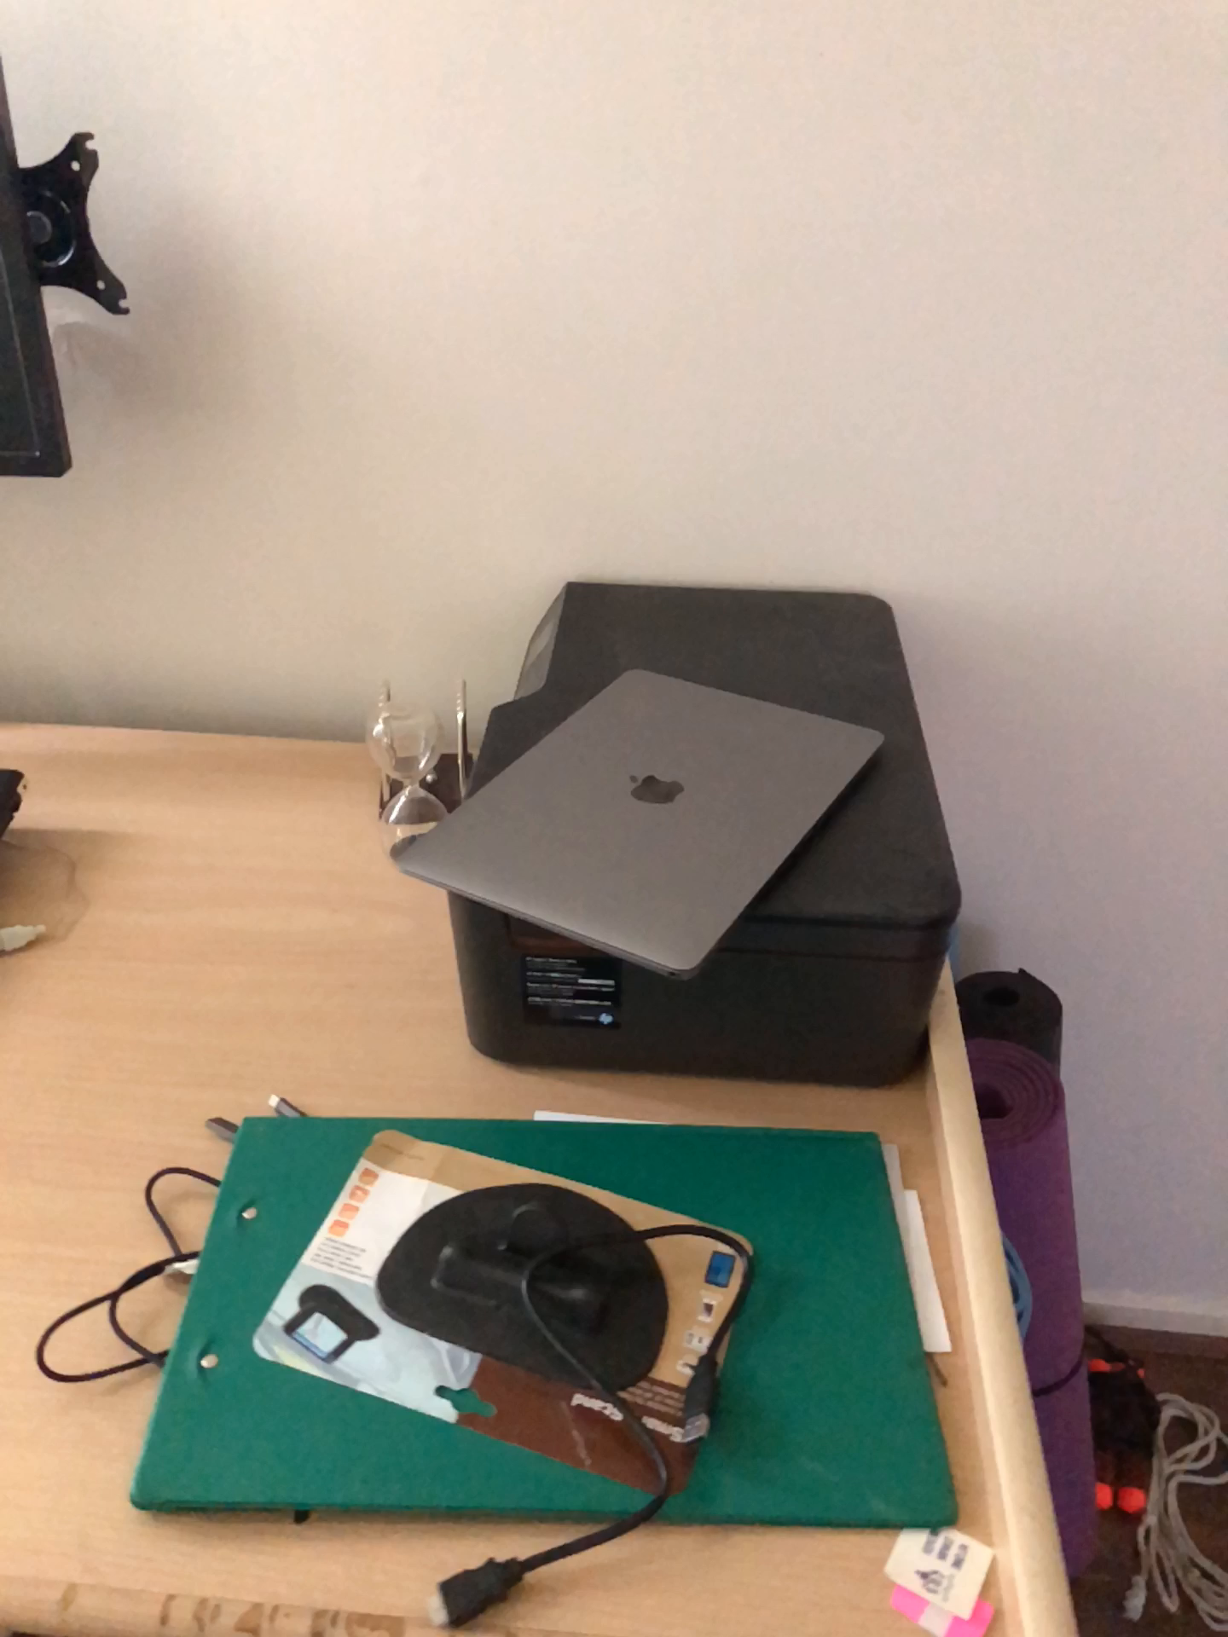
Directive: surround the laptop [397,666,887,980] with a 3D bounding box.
[{"bbox_3d":[0.026,-0.013,0.818,0.189,0.007,0.266,18,39,27],"label":"laptop"}]
